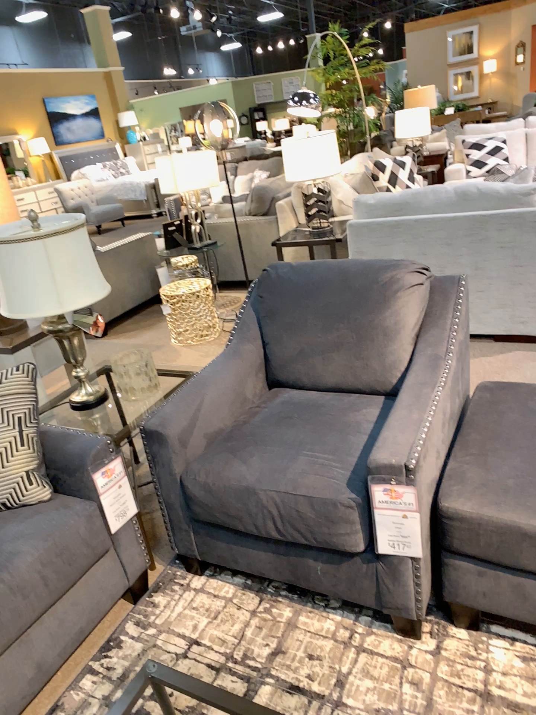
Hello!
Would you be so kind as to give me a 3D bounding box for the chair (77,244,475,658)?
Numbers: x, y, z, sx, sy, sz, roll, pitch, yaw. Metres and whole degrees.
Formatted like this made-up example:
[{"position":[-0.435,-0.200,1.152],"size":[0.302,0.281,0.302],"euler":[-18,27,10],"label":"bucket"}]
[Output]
[{"position":[0.148,0.172,1.852],"size":[0.921,0.840,0.960],"euler":[3,26,28],"label":"chair"}]
